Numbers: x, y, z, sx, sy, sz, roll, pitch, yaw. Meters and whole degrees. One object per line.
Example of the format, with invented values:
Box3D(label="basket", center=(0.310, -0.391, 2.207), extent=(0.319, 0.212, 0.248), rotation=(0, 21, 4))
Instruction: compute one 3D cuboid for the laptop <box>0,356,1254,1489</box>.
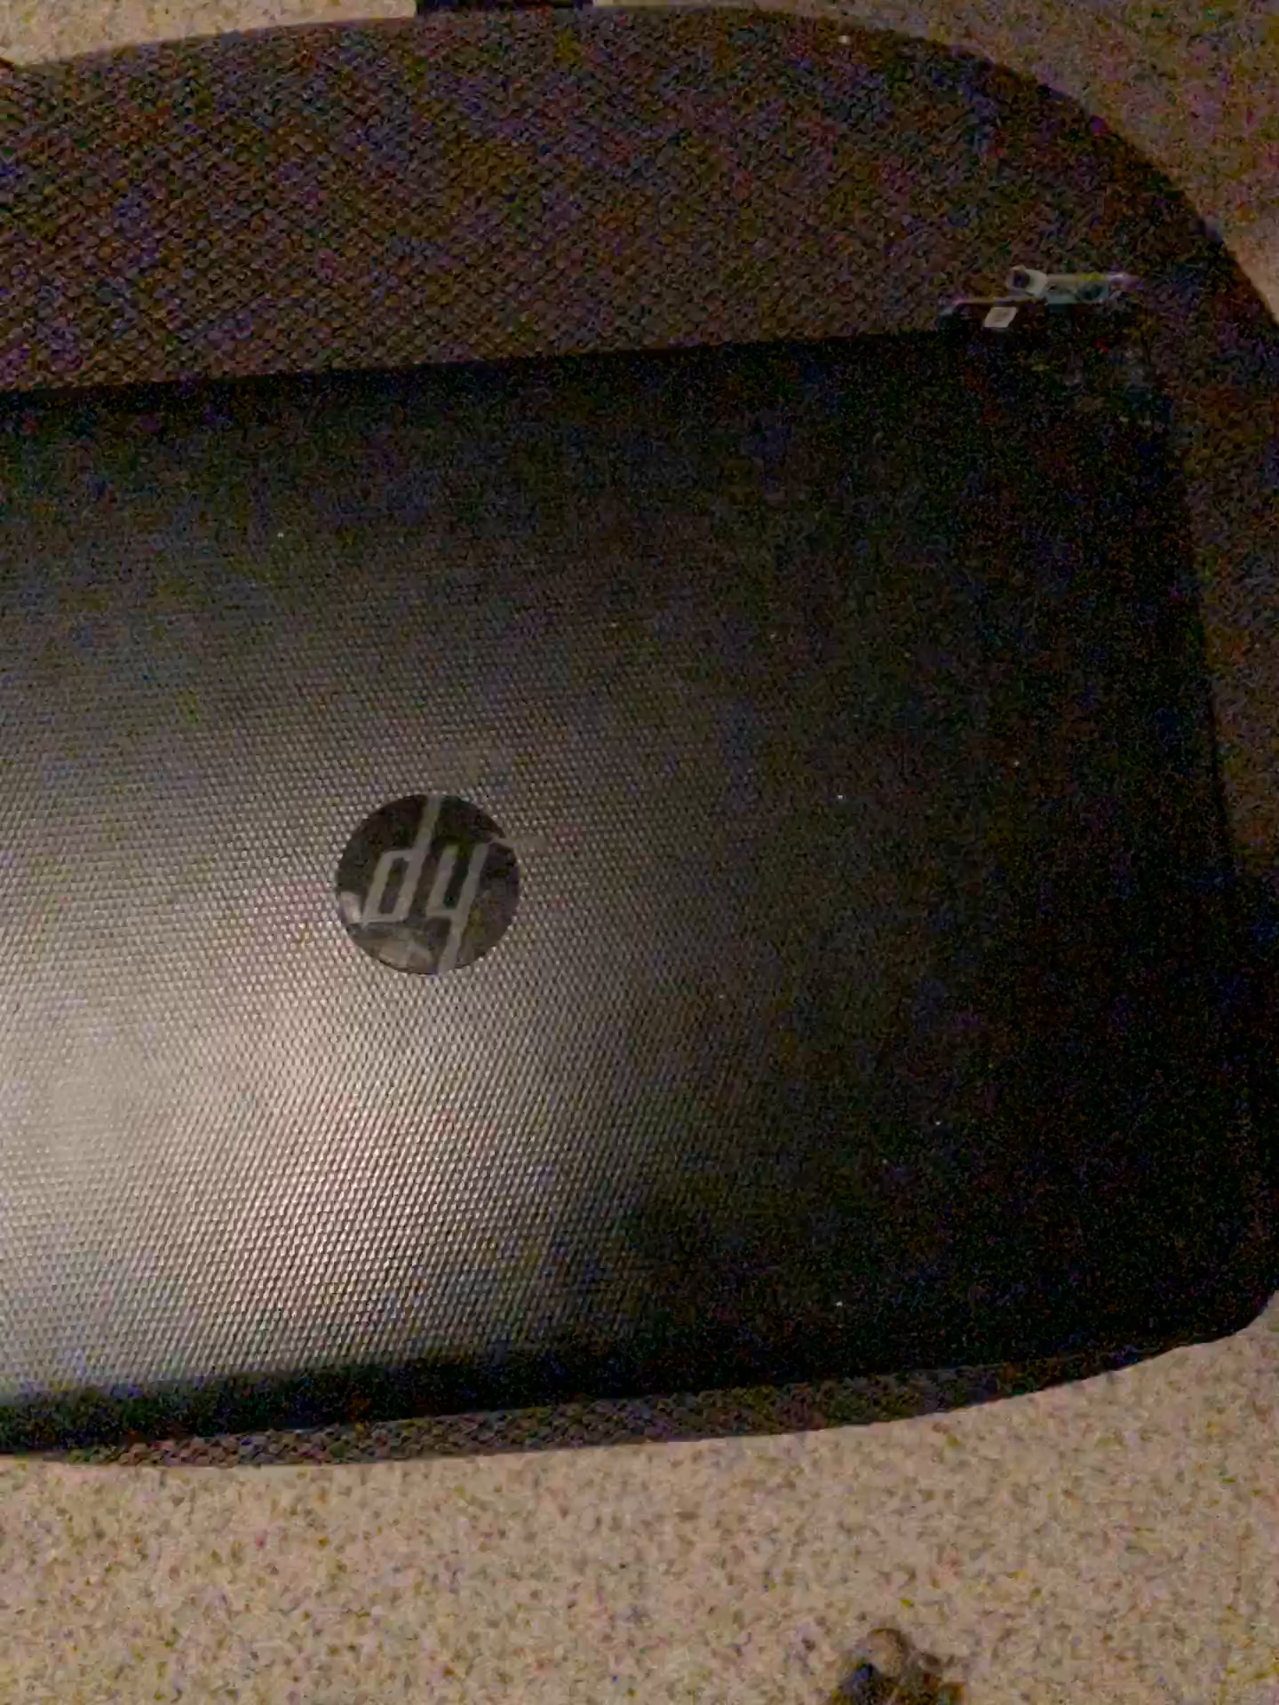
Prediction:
Box3D(label="laptop", center=(-0.044, 0.004, 0.329), extent=(0.378, 0.018, 0.245), rotation=(-4, 84, -7))
